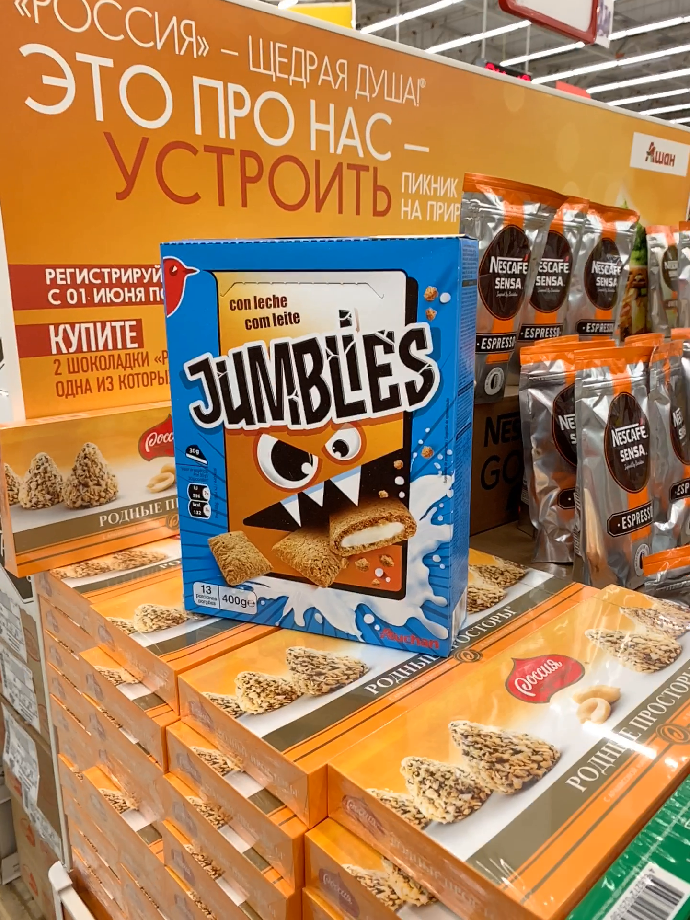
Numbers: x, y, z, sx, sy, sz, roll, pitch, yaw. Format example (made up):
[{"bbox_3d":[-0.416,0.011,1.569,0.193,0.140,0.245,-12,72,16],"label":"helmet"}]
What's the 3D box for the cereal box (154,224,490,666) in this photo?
[{"bbox_3d":[-0.015,-0.014,0.469,0.200,0.259,0.060,5,15,20],"label":"cereal box"}]
